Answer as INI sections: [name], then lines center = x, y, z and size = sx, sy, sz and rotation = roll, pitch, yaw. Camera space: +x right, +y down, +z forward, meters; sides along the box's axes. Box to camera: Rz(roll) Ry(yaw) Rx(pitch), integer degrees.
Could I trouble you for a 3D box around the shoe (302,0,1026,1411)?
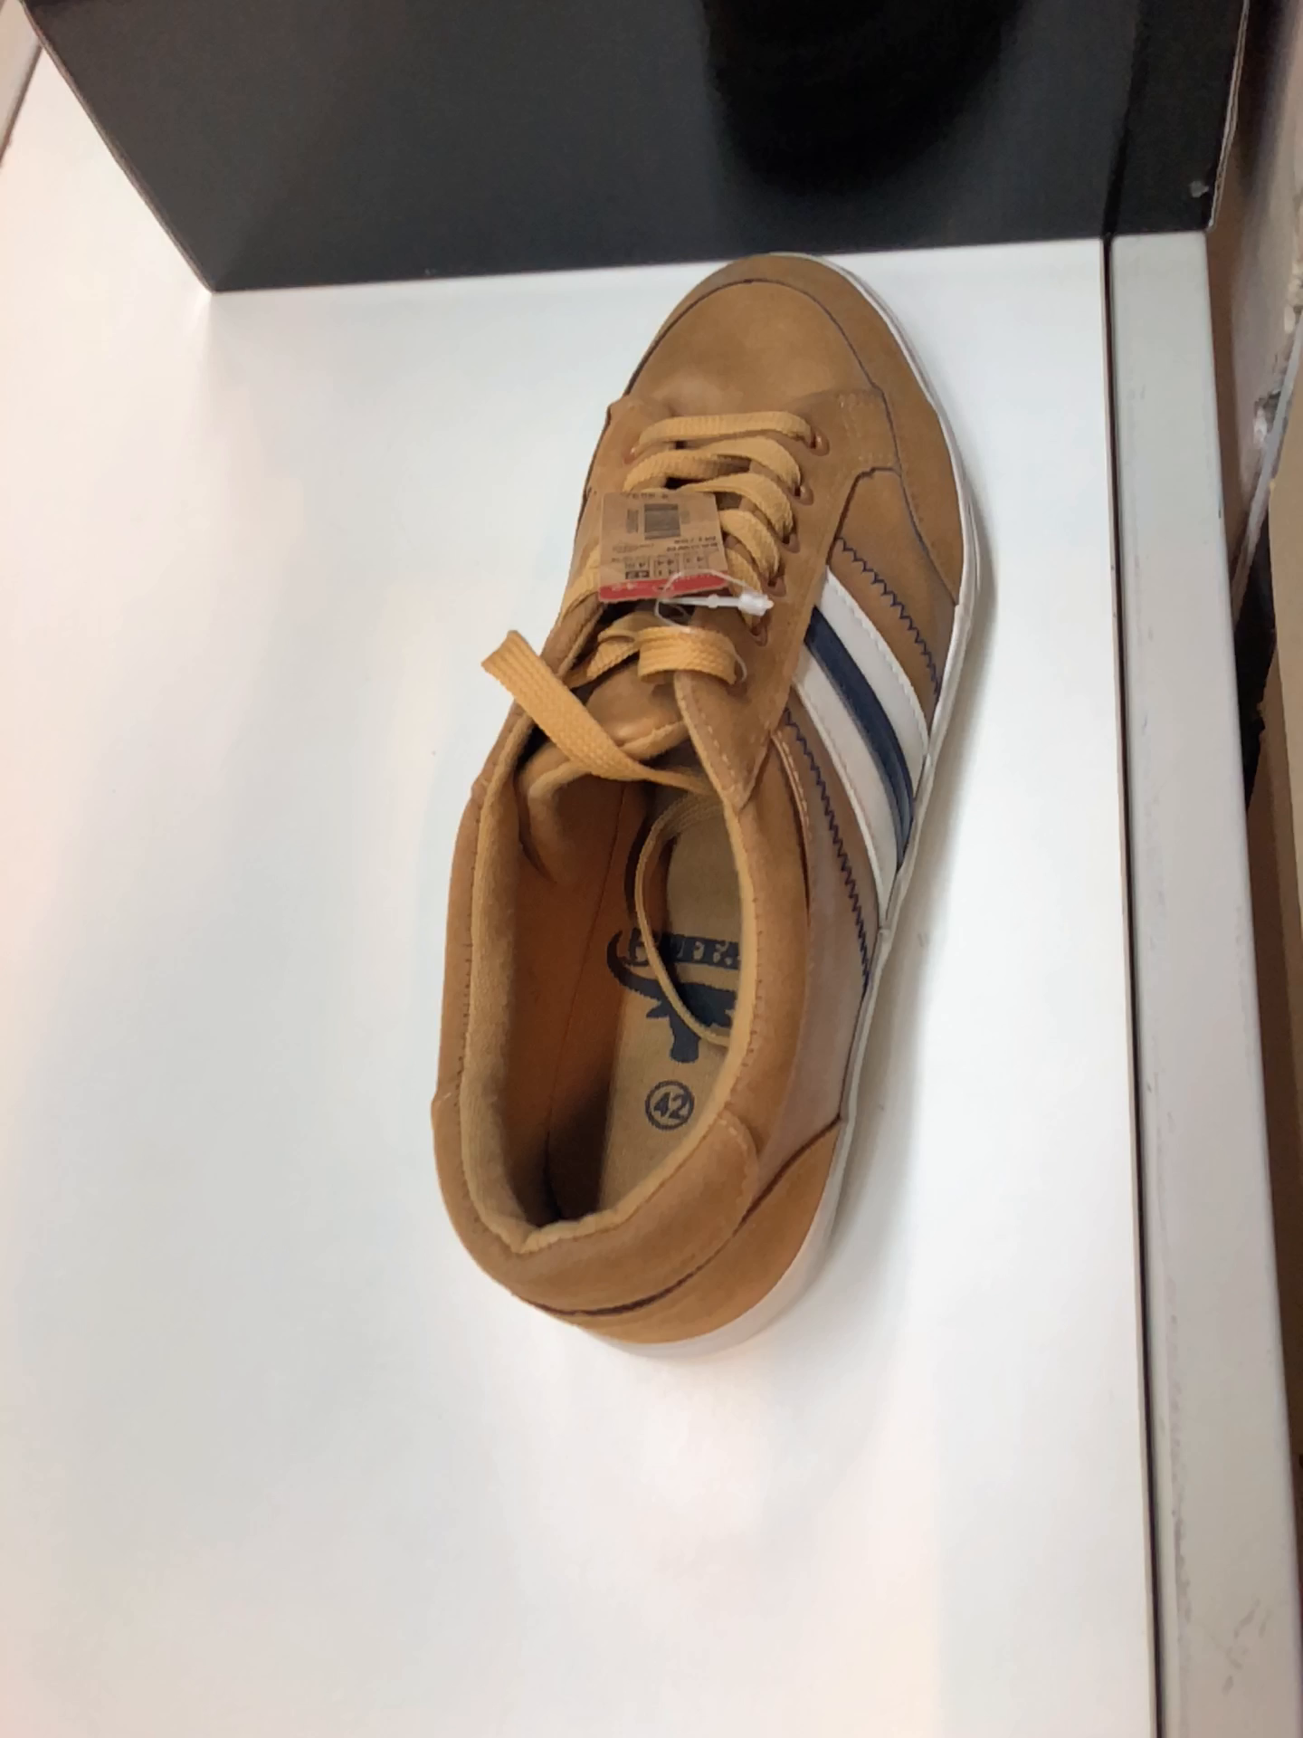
[shoe]
center = 0.024, -0.043, 0.327
size = 0.104, 0.104, 0.295
rotation = 3, 69, 15
